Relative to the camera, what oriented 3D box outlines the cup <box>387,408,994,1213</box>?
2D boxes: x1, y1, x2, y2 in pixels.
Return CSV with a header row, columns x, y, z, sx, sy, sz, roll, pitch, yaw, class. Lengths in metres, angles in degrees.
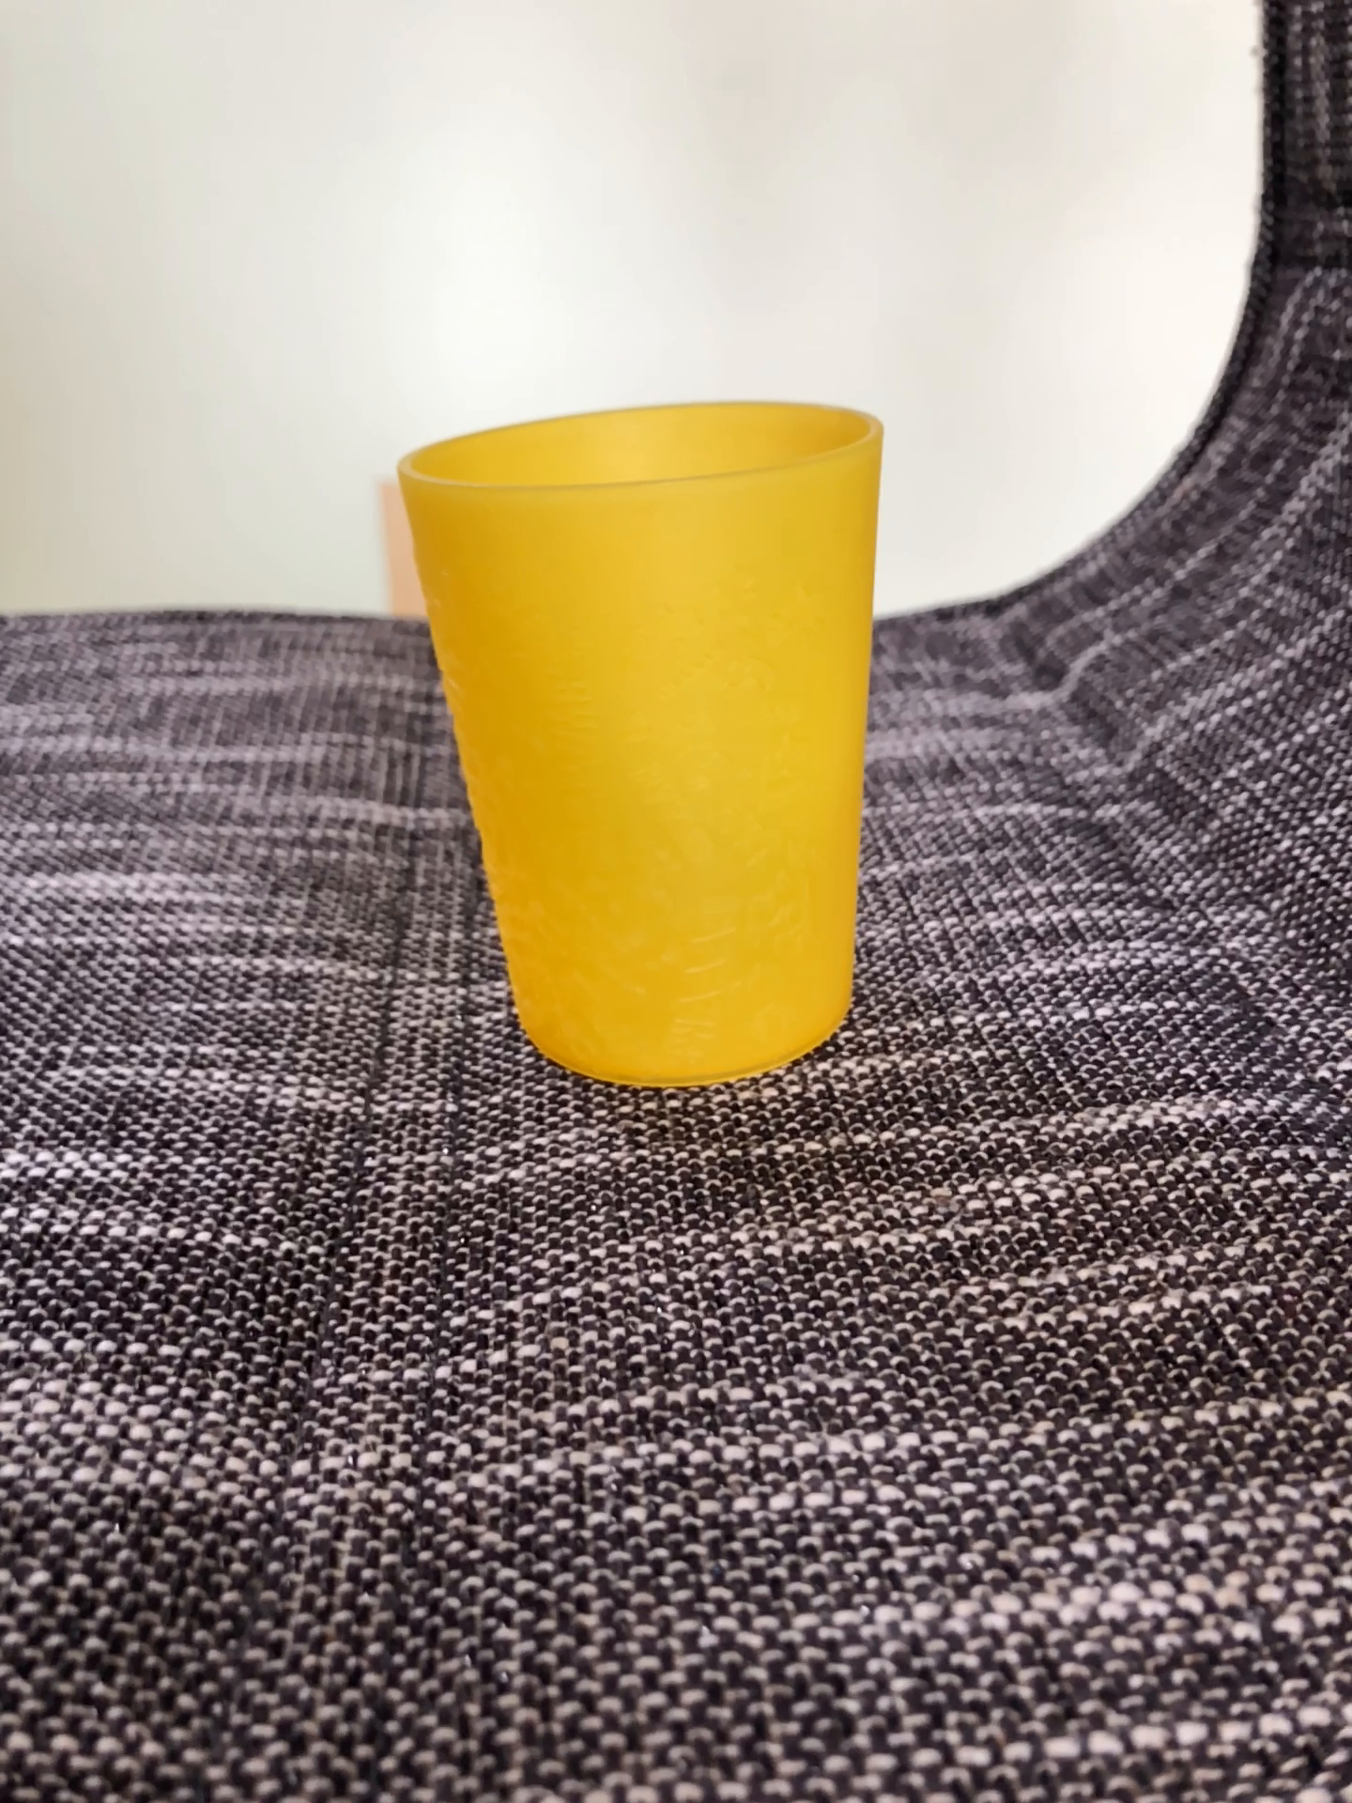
x,y,z,sx,sy,sz,roll,pitch,yaw,class
0.001,-0.016,0.198,0.060,0.080,0.060,-5,25,2,cup
